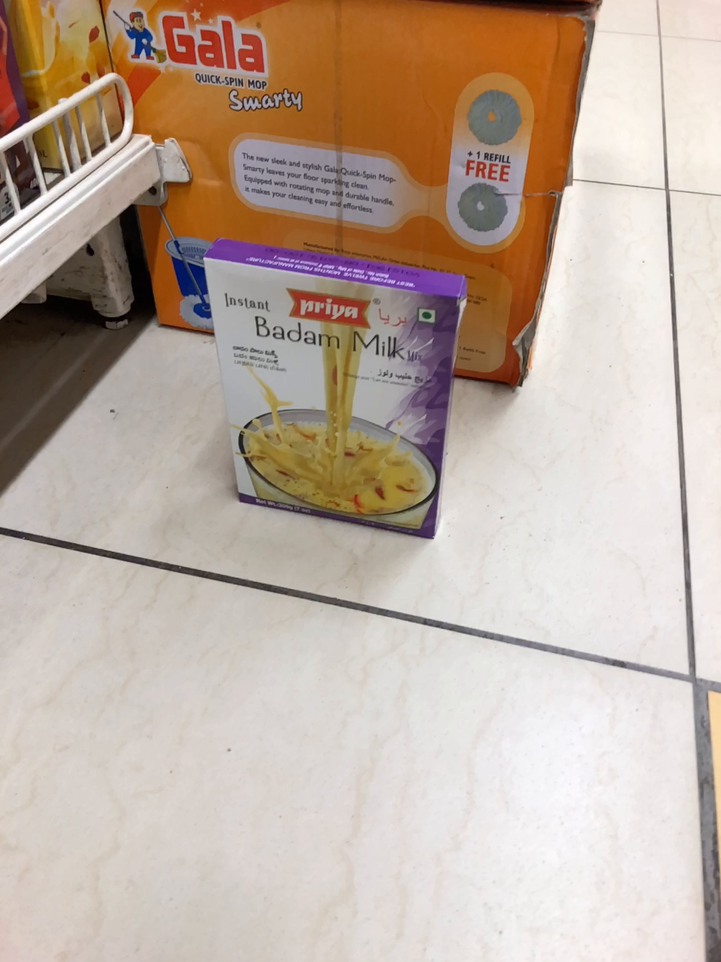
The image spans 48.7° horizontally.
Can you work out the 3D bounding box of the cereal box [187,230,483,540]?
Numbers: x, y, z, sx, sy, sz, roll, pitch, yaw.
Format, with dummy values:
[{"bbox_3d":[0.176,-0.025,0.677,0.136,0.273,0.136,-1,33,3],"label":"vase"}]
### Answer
[{"bbox_3d":[-0.013,-0.044,0.409,0.130,0.149,0.030,10,43,10],"label":"cereal box"}]
